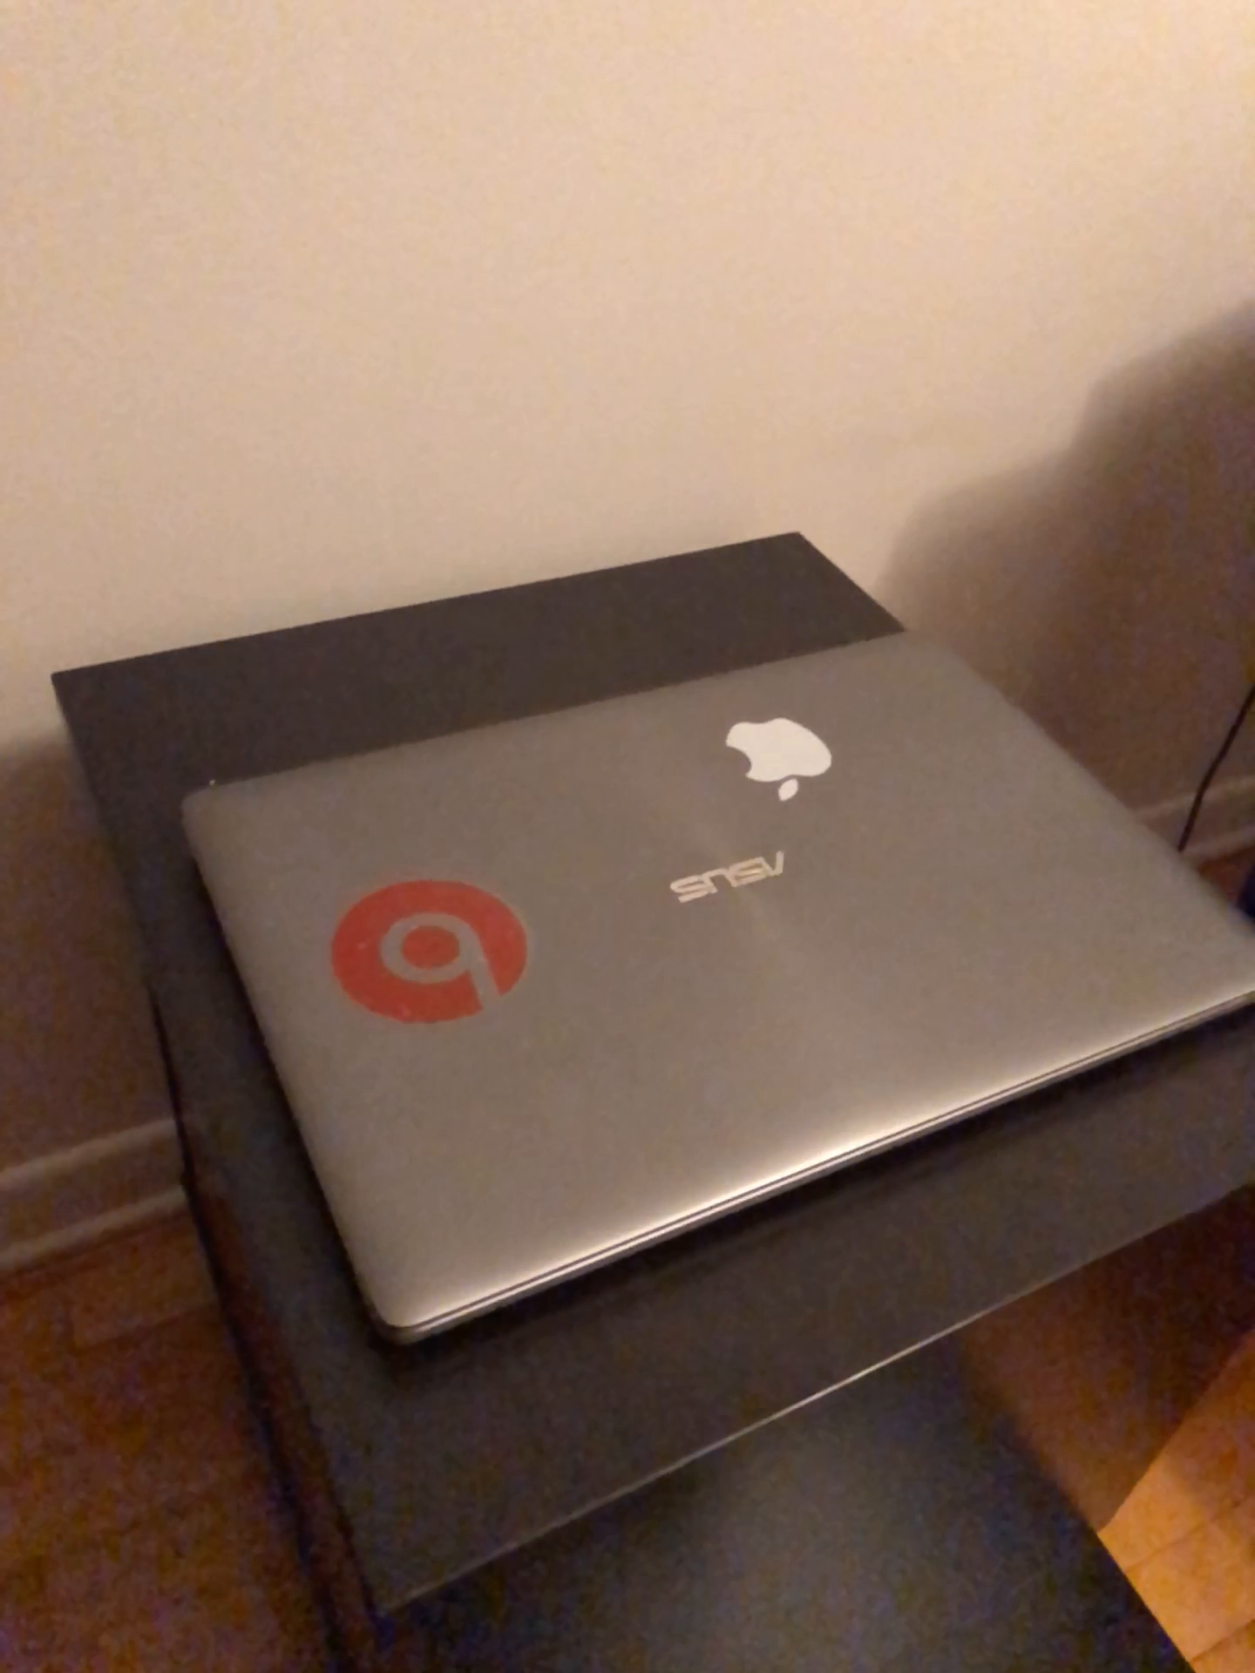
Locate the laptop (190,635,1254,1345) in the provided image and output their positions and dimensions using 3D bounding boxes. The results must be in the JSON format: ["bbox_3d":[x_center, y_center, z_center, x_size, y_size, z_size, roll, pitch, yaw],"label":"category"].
[{"bbox_3d":[0.044,0.025,0.559,0.374,0.010,0.250,-15,47,-22],"label":"laptop"}]
